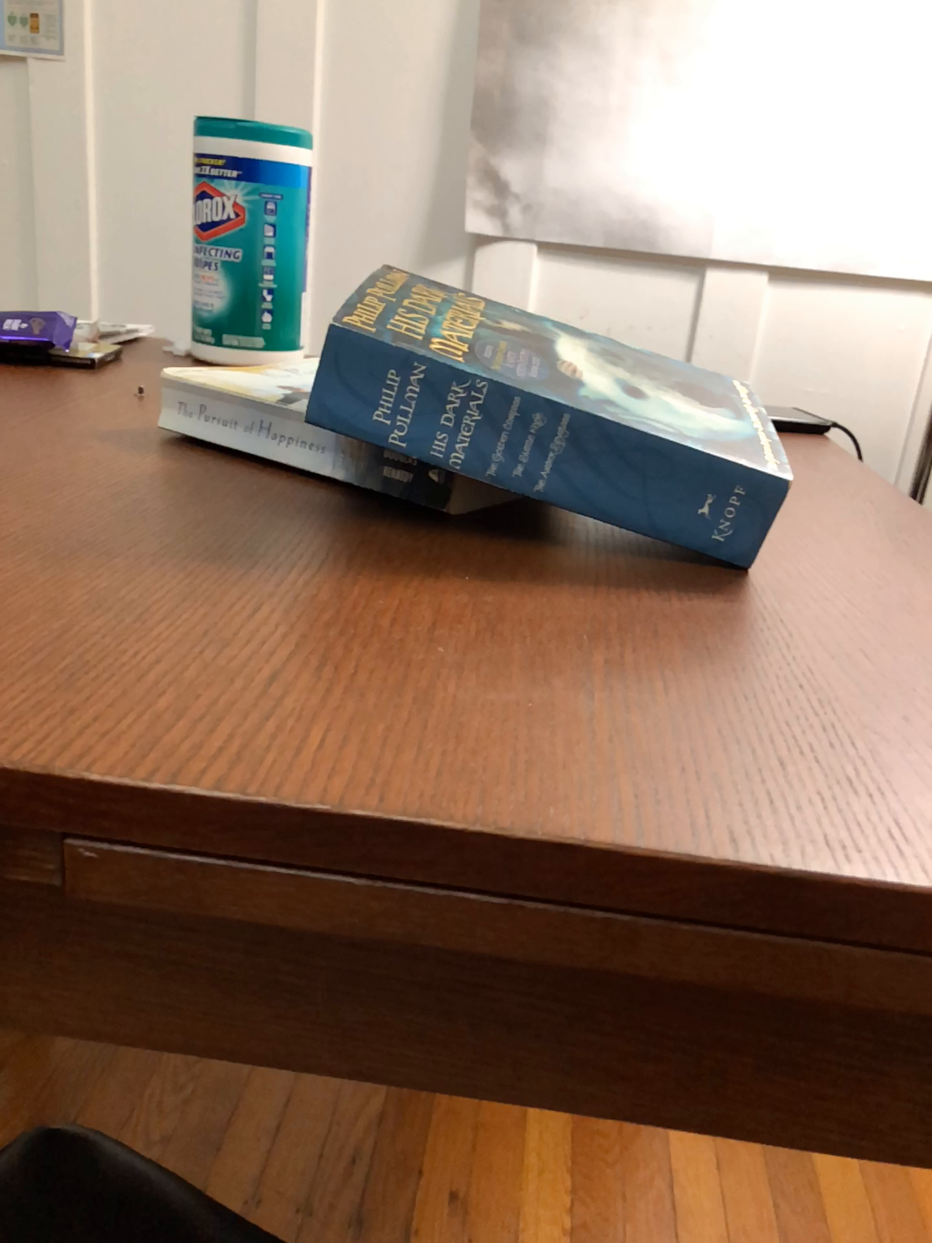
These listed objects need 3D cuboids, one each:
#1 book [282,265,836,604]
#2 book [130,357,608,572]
[{"bbox_3d":[0.045,-0.106,0.536,0.240,0.060,0.171,18,24,-6],"label":"book"},{"bbox_3d":[-0.061,-0.109,0.638,0.240,0.040,0.171,23,32,32],"label":"book"}]
